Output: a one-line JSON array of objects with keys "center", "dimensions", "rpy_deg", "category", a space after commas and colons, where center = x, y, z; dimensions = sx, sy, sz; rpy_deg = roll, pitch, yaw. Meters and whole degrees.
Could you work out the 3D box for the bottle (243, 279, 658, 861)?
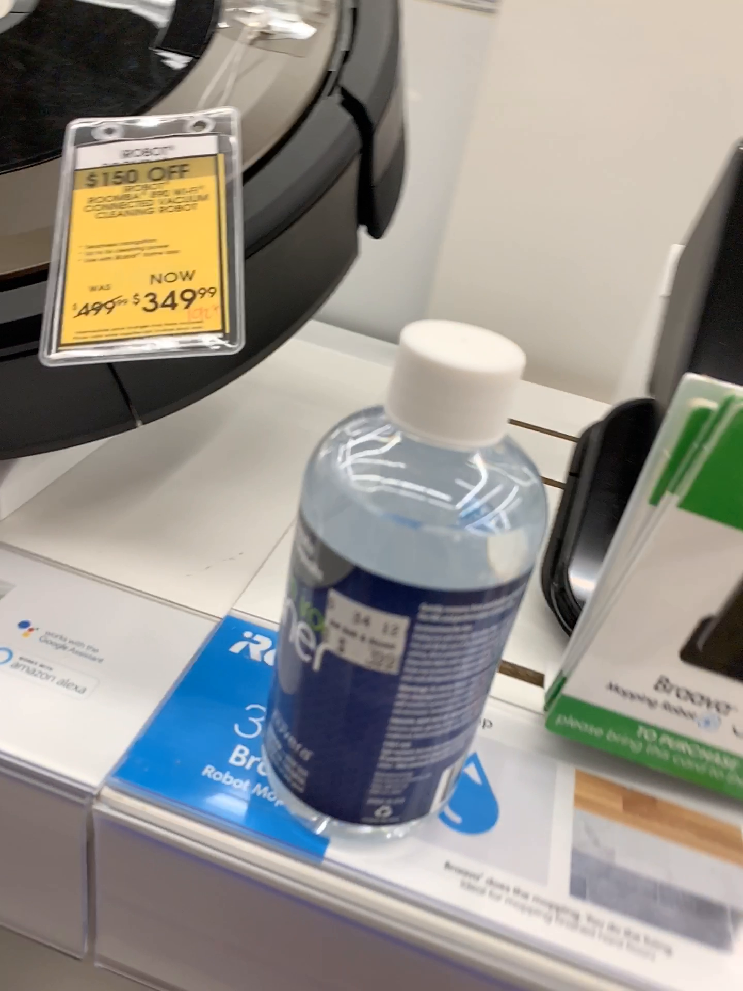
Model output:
[{"center": [0.006, 0.024, 0.190], "dimensions": [0.060, 0.129, 0.060], "rpy_deg": [10, 31, -6], "category": "bottle"}]
